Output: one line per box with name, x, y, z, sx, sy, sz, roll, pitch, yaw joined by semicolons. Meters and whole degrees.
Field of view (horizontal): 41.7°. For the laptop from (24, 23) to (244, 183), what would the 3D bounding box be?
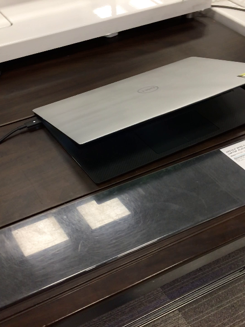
laptop;0.048;-0.105;0.501;0.313;0.075;0.178;-24;56;-13
